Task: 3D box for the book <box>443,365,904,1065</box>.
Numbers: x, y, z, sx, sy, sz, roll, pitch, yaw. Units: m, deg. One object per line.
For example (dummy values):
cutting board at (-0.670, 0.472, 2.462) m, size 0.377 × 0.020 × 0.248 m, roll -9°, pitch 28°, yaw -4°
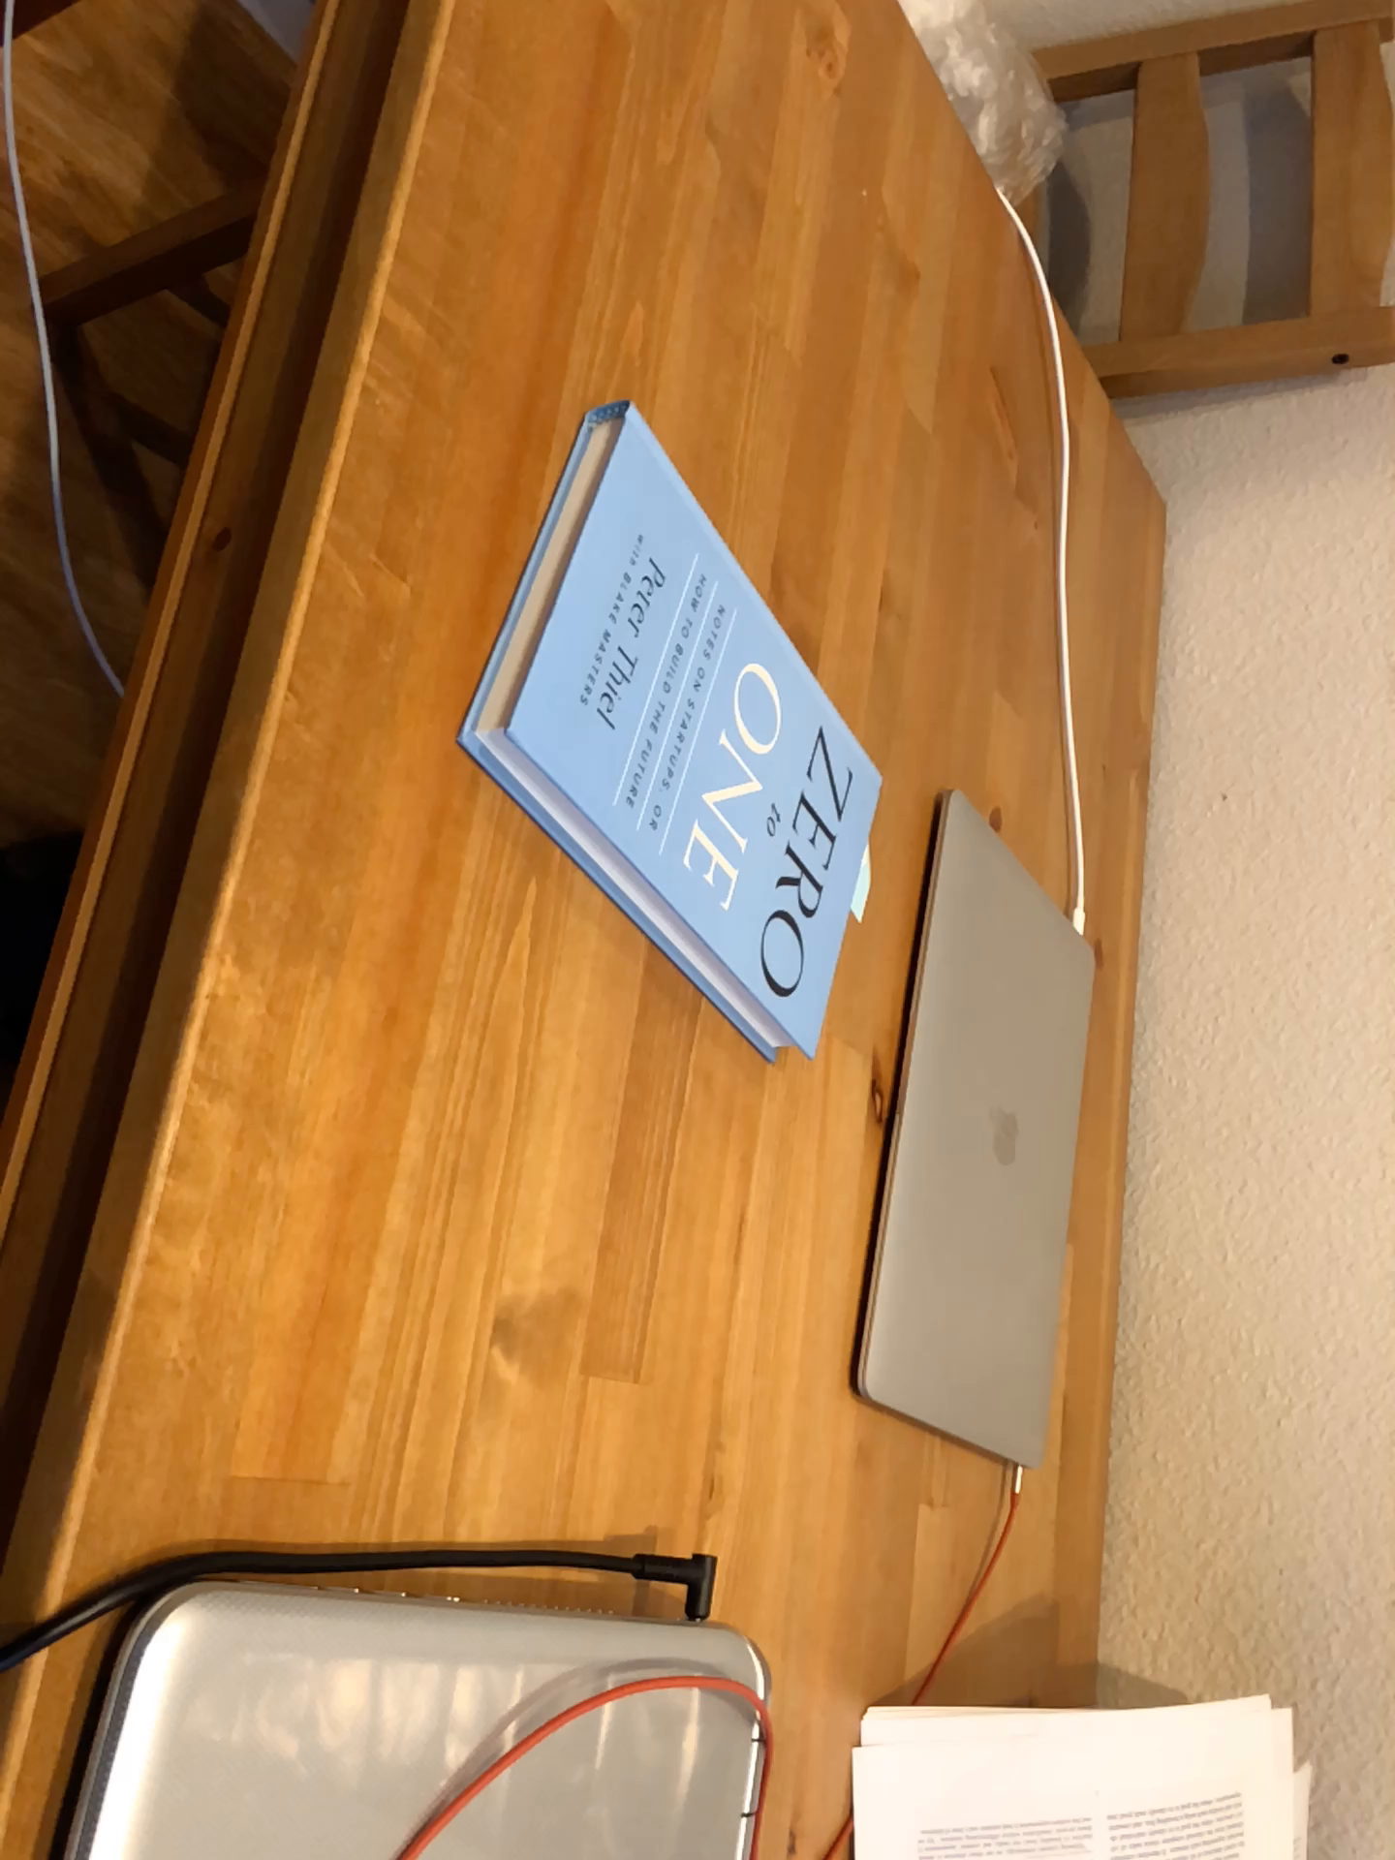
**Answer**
book at (0.007, -0.067, 0.557) m, size 0.211 × 0.030 × 0.150 m, roll 47°, pitch 49°, yaw -45°
